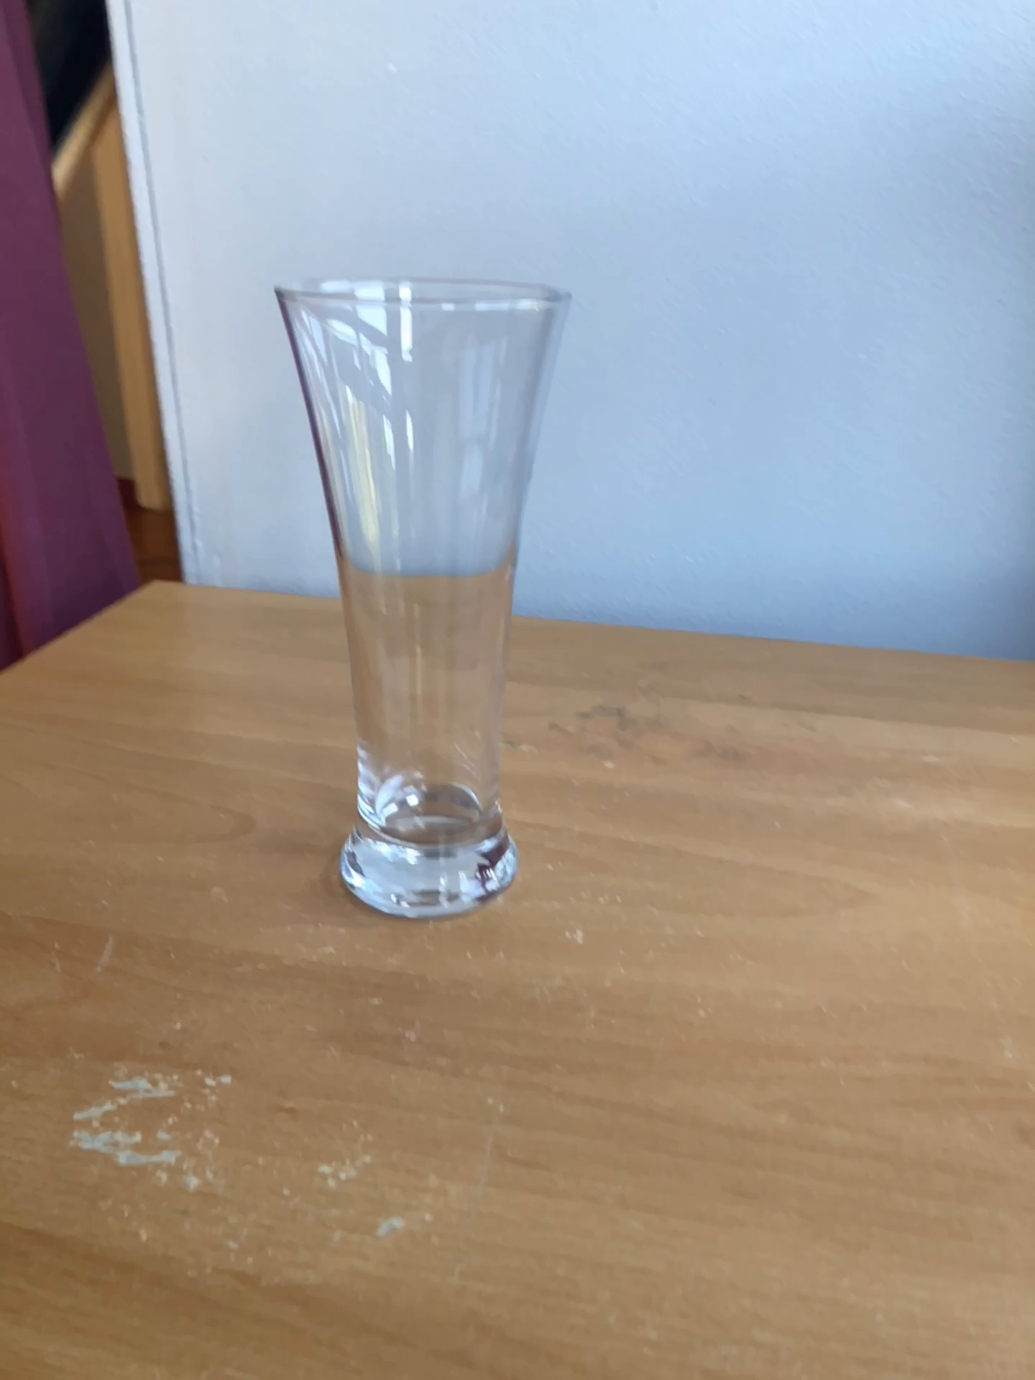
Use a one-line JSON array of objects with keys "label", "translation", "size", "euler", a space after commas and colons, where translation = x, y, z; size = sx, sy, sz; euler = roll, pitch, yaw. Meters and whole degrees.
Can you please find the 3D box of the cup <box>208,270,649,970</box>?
[{"label": "cup", "translation": [-0.025, -0.025, 0.322], "size": [0.083, 0.168, 0.076], "euler": [1, 24, -1]}]
